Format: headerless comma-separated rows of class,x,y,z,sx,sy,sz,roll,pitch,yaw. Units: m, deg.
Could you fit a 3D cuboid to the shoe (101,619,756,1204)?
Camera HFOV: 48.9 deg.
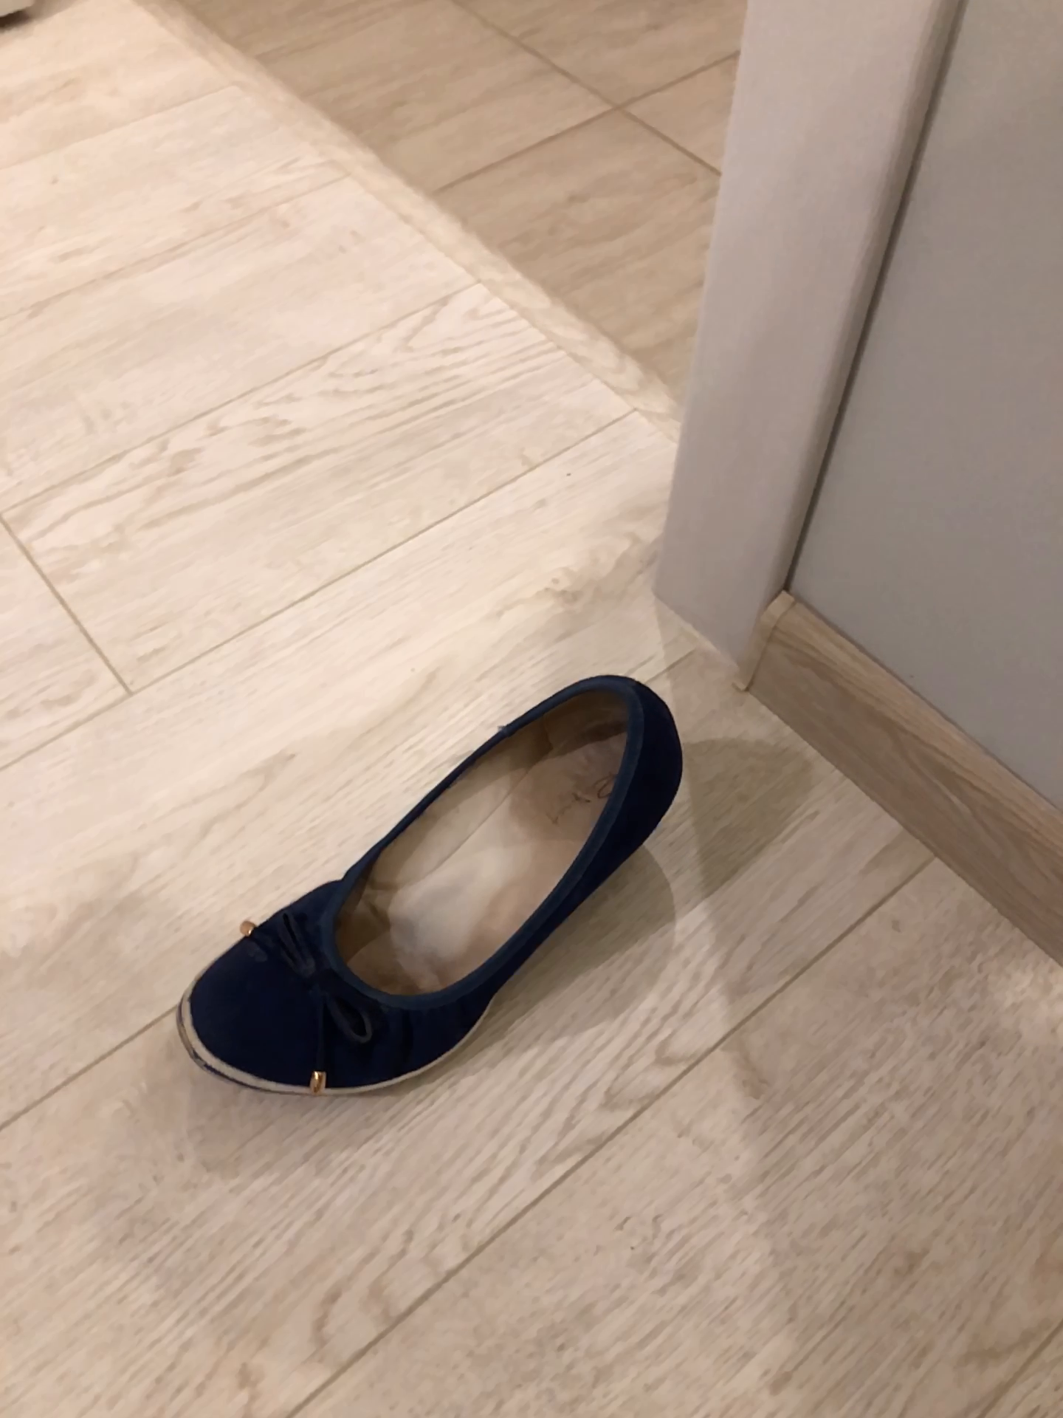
shoe,-0.035,0.080,0.486,0.231,0.109,0.099,-30,61,-20
